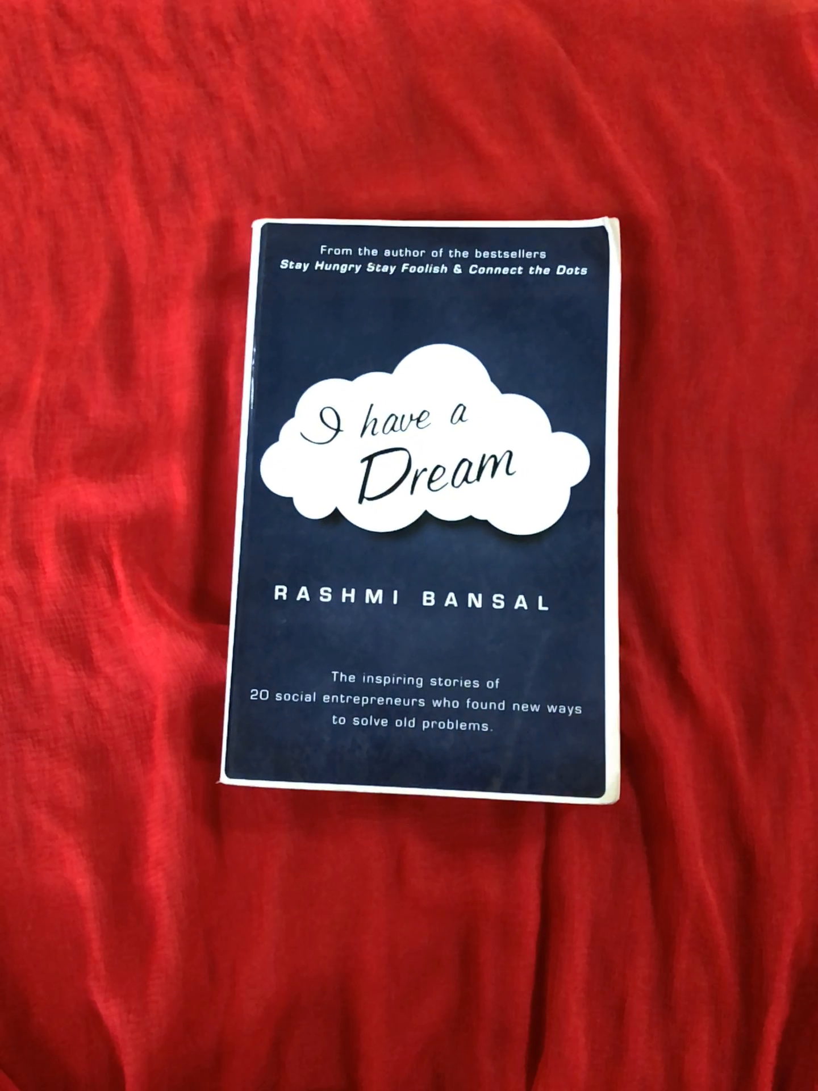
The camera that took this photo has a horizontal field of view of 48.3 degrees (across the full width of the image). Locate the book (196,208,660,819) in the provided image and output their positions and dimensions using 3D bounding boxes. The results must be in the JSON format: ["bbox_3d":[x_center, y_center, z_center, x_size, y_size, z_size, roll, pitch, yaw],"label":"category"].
[{"bbox_3d":[0.009,-0.013,0.307,0.140,0.040,0.190,1,82,6],"label":"book"}]
